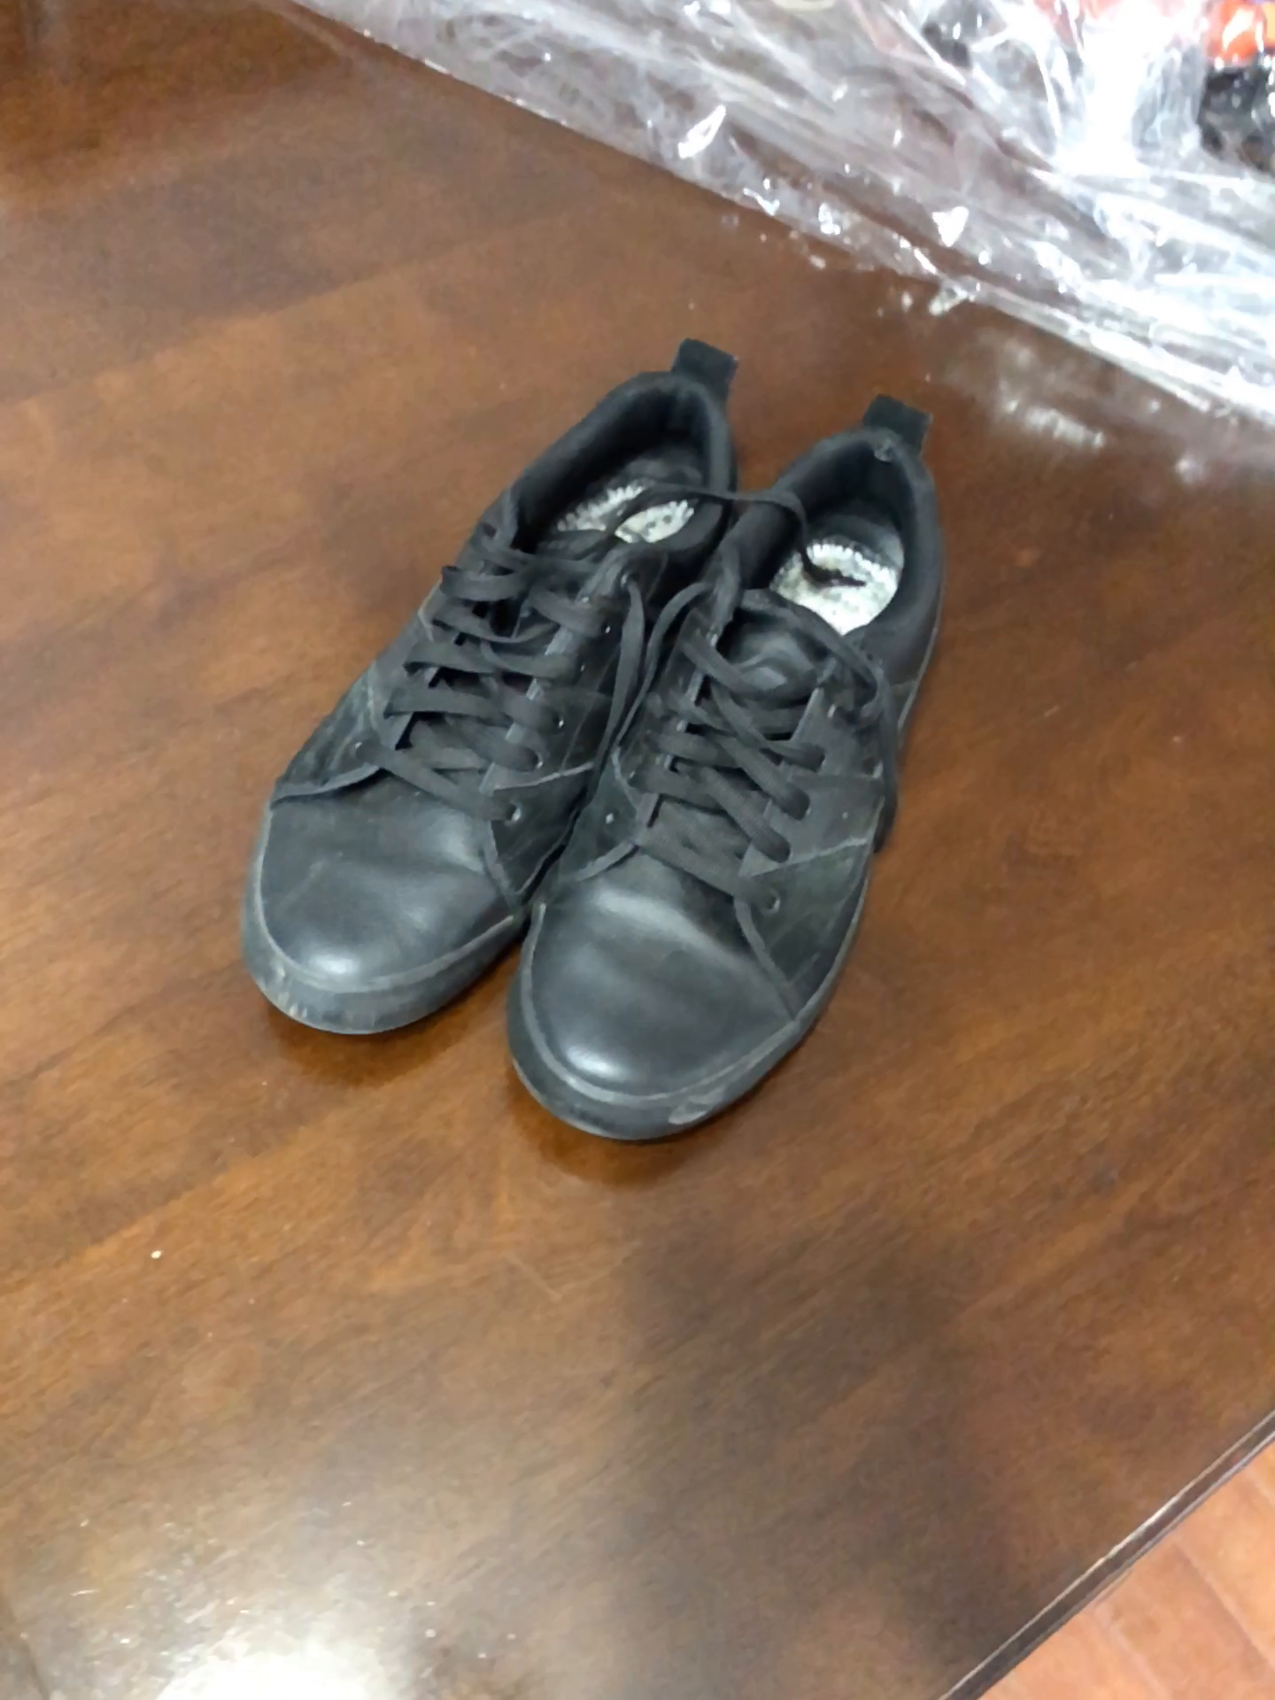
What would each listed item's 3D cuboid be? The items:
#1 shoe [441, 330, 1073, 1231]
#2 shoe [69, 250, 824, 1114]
[{"bbox_3d":[0.050,-0.036,0.513,0.110,0.110,0.301,23,61,8],"label":"shoe"},{"bbox_3d":[-0.052,-0.072,0.523,0.110,0.110,0.300,27,61,10],"label":"shoe"}]
